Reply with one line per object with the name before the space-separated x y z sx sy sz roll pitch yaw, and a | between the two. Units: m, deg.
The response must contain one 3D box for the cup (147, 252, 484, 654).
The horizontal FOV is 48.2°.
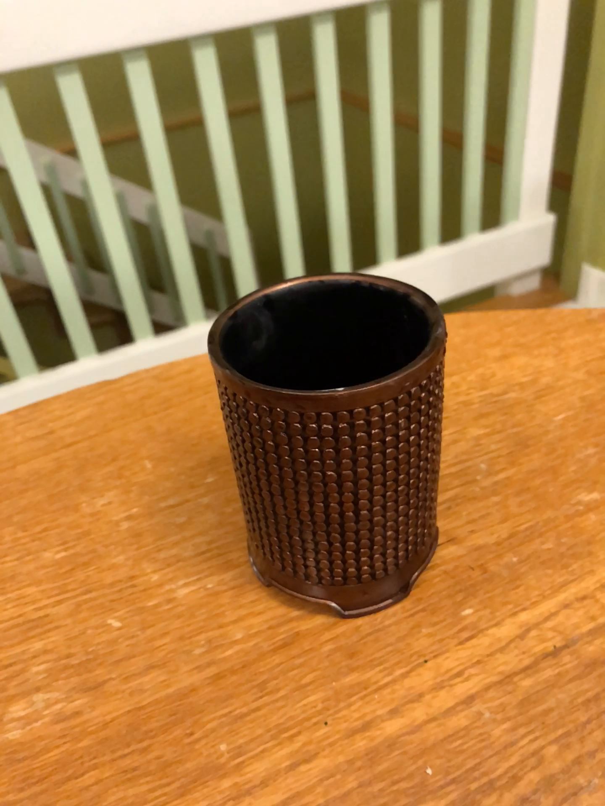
cup | 0.008 0.014 0.240 0.073 0.097 0.078 -5 36 3
